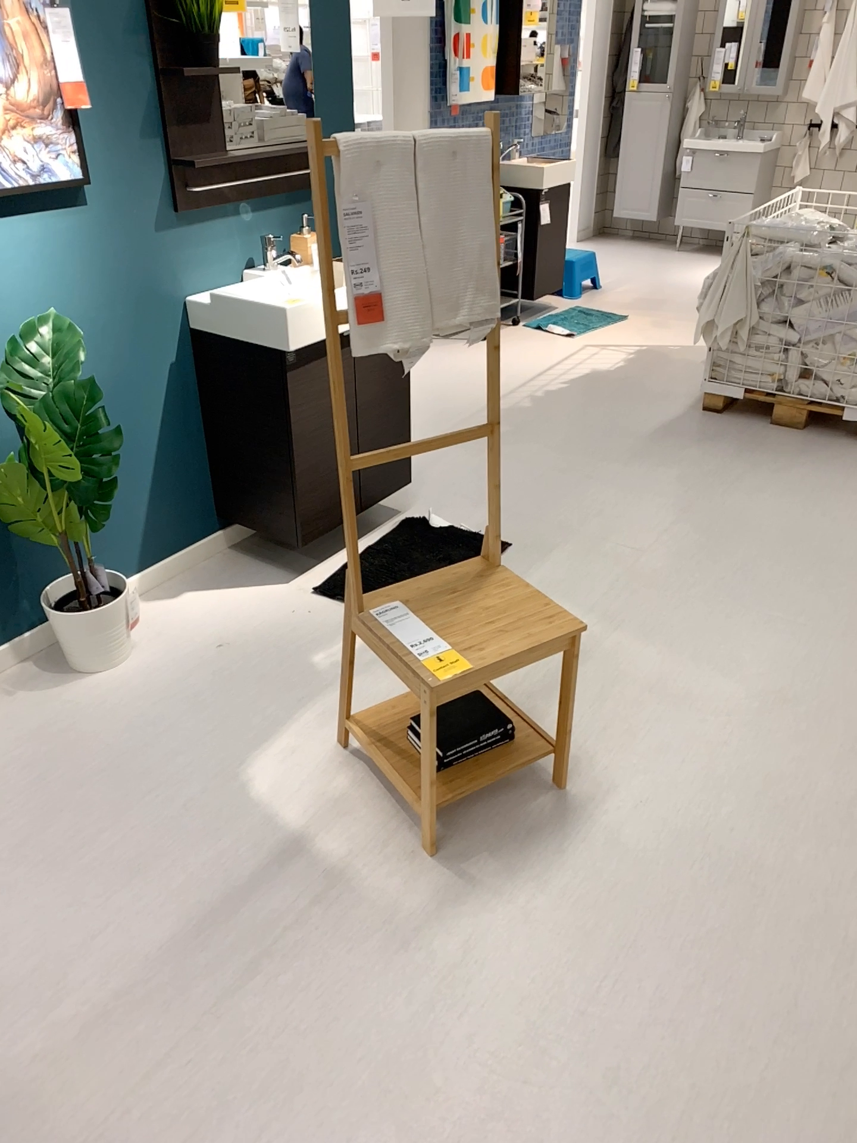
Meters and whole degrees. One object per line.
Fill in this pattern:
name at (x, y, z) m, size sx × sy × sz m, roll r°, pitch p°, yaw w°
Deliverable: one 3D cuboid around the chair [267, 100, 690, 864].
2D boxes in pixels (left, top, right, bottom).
chair at (0.062, -0.148, 1.659) m, size 0.461 × 1.294 × 0.472 m, roll -18°, pitch 35°, yaw -27°
